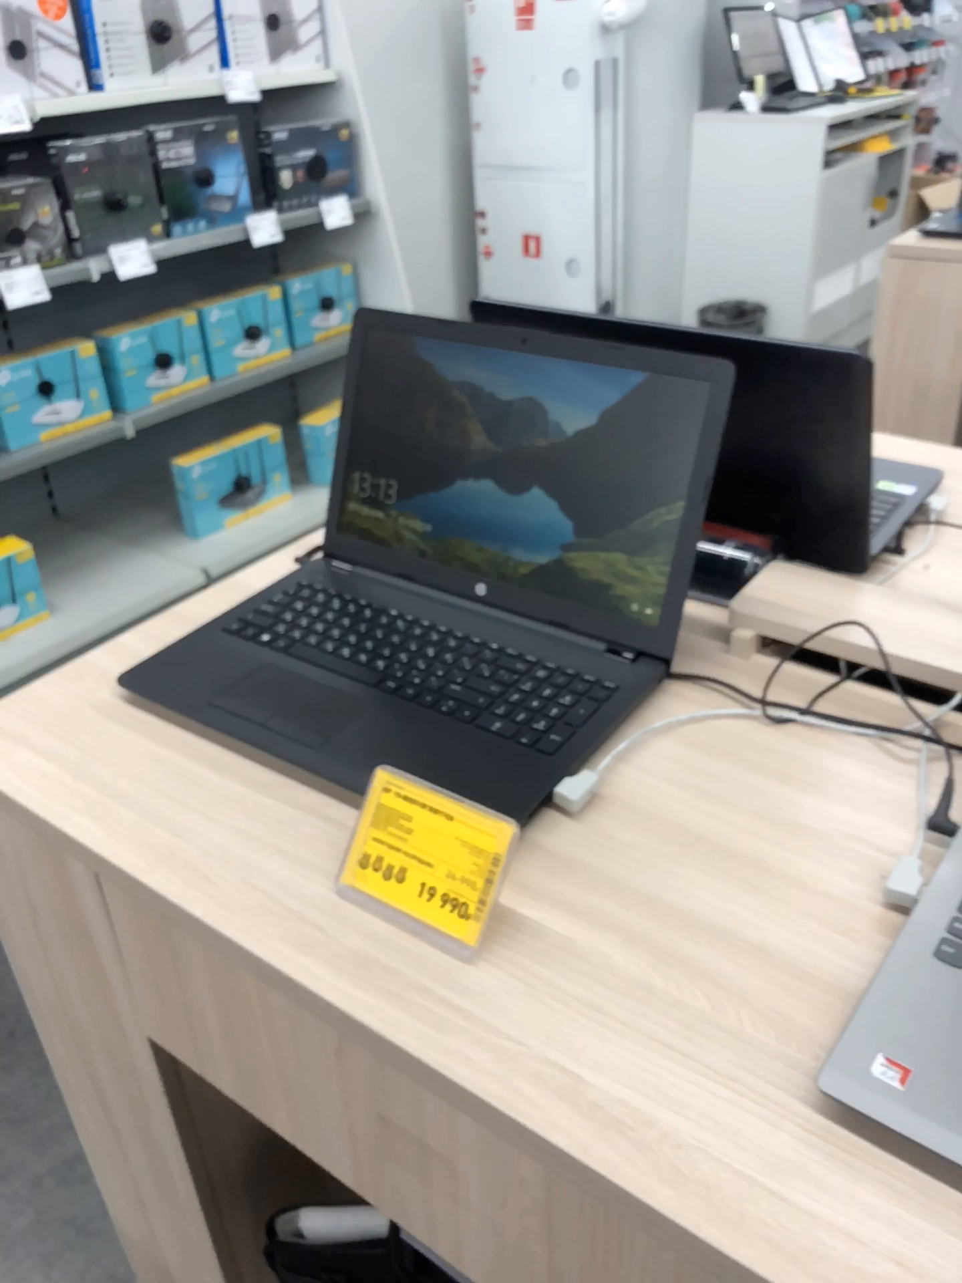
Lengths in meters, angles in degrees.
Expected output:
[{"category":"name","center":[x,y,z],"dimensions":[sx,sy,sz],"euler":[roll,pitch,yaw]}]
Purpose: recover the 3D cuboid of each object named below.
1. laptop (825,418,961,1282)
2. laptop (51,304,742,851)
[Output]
[{"category":"laptop","center":[0.414,0.094,0.461],"dimensions":[0.371,0.226,0.340],"euler":[20,39,36]},{"category":"laptop","center":[-0.052,-0.091,0.836],"dimensions":[0.377,0.217,0.342],"euler":[19,38,32]}]
